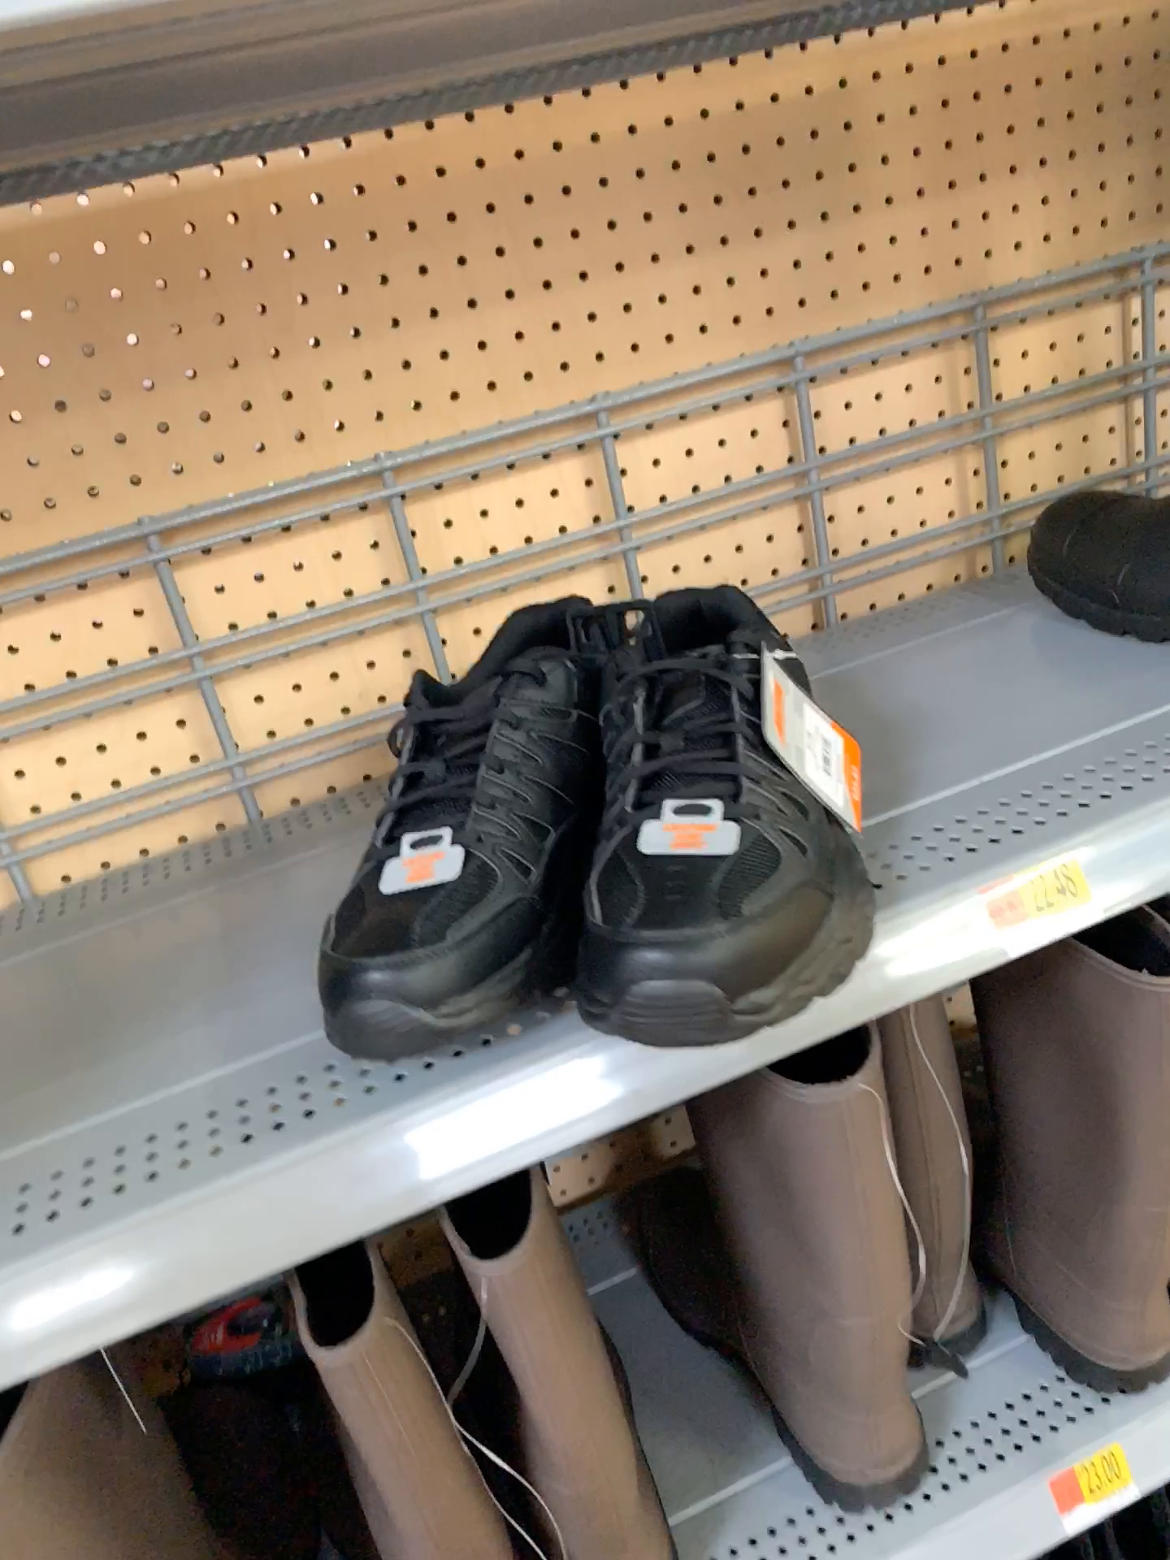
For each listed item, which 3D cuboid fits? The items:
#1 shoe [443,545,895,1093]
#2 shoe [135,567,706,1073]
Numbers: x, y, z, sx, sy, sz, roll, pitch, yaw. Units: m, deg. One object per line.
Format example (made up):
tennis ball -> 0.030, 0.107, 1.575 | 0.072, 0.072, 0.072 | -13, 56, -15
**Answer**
shoe -> 0.054, -0.004, 0.535 | 0.135, 0.104, 0.298 | -7, 24, 14
shoe -> -0.051, 0.001, 0.577 | 0.139, 0.104, 0.297 | -4, 25, 22
